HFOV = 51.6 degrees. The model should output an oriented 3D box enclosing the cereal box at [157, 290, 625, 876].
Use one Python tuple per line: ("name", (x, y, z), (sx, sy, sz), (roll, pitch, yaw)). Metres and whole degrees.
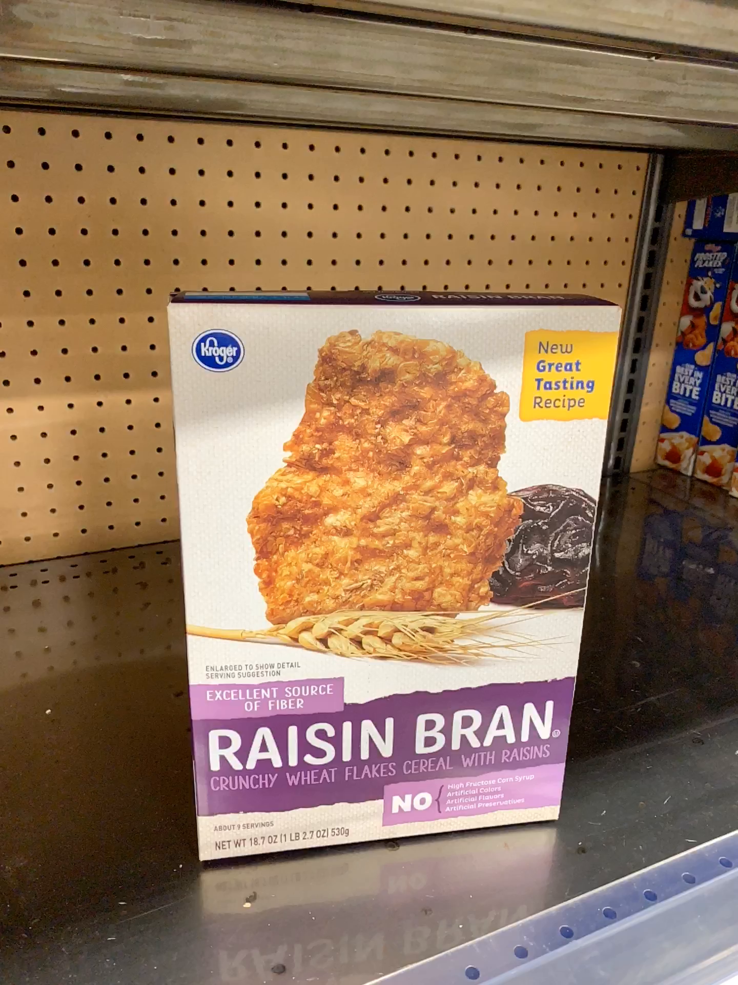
("cereal box", (0.006, 0.045, 0.367), (0.190, 0.269, 0.050), (-2, 19, -12))
